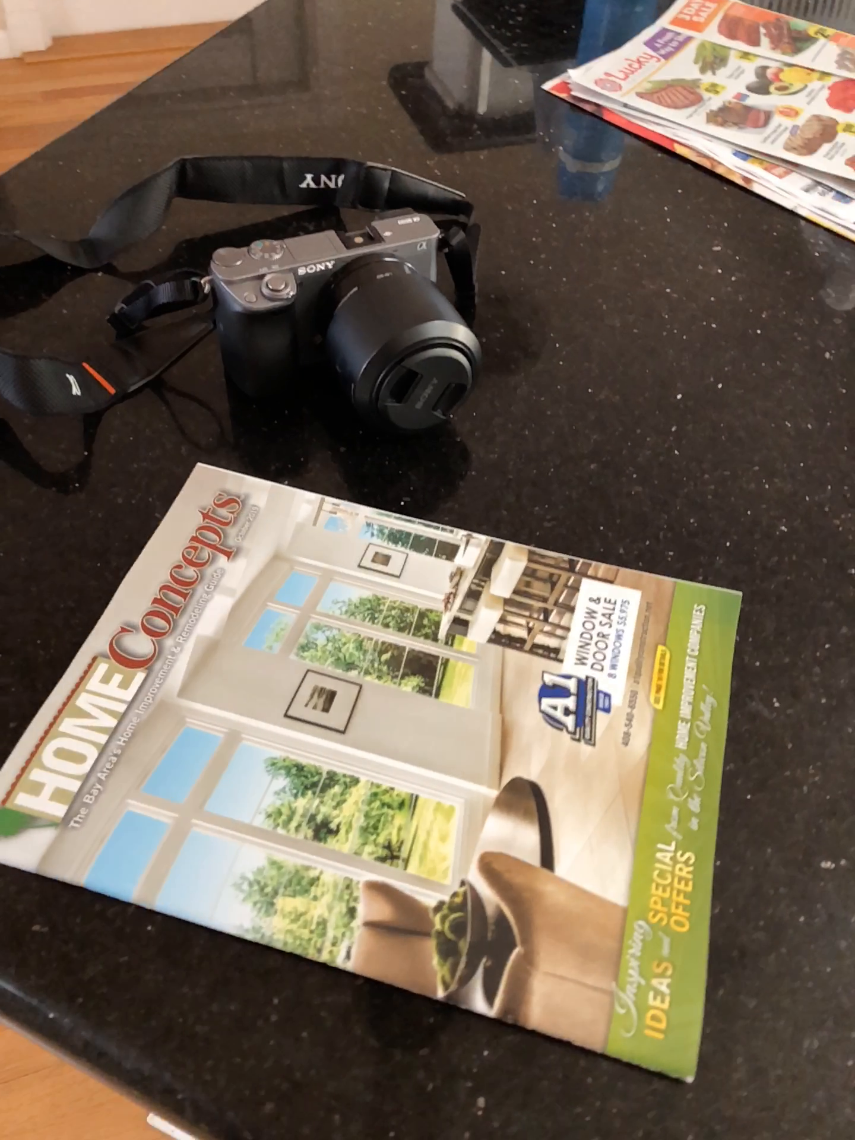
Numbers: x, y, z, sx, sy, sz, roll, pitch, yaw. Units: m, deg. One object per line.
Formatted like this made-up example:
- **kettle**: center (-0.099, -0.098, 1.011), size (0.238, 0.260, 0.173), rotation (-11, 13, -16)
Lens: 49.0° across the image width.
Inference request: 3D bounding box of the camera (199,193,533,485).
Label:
- **camera**: center (-0.032, -0.116, 0.455), size (0.120, 0.060, 0.110), rotation (-19, 55, -18)
